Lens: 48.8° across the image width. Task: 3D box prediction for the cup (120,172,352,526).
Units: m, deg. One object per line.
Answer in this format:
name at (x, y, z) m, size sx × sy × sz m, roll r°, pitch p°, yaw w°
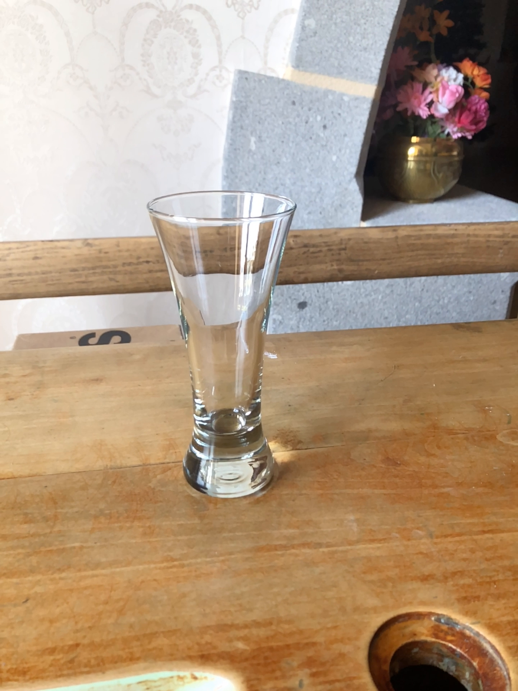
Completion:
cup at (-0.010, -0.004, 0.292) m, size 0.070 × 0.149 × 0.080 m, roll 21°, pitch 32°, yaw 38°
